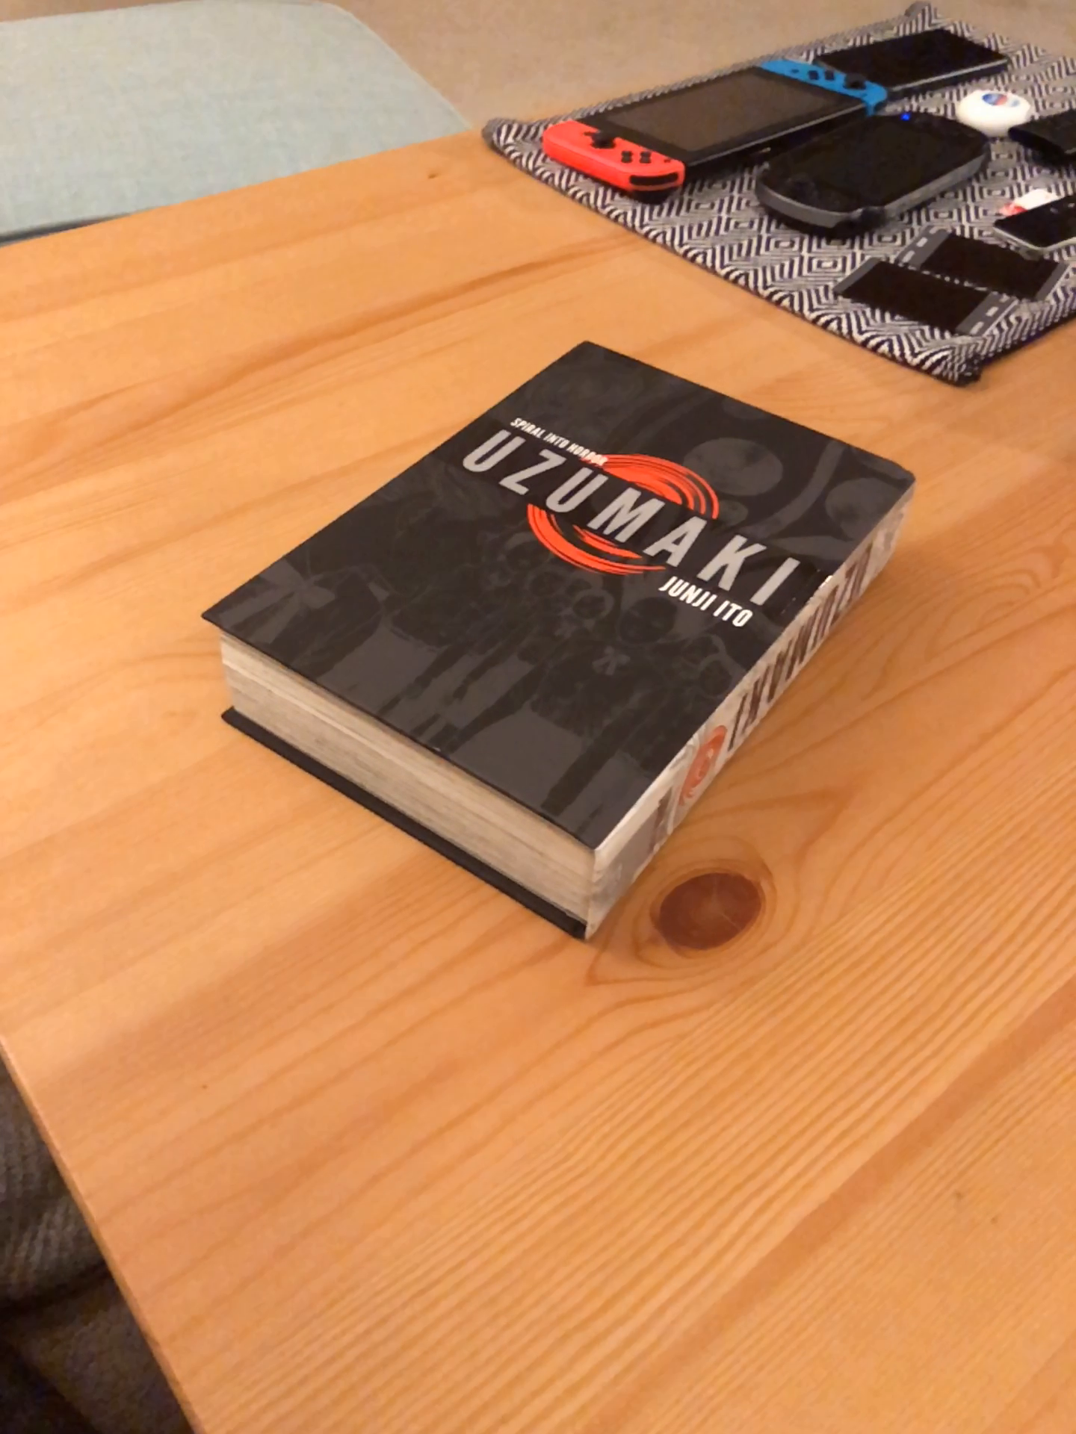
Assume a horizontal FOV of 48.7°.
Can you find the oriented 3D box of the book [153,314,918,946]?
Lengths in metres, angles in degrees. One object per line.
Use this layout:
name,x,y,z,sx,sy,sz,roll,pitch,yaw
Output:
book,0.008,-0.048,0.400,0.157,0.048,0.205,29,52,22
